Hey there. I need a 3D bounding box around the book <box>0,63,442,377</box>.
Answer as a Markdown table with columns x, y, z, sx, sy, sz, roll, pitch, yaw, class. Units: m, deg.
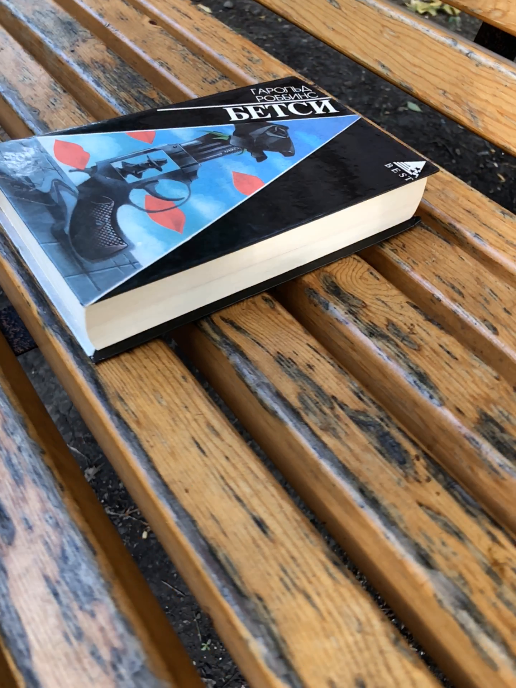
| x | y | z | sx | sy | sz | roll | pitch | yaw | class |
| --- | --- | --- | --- | --- | --- | --- | --- | --- | --- |
| -0.026 | -0.084 | 0.309 | 0.210 | 0.045 | 0.130 | -26 | 57 | -26 | book |
